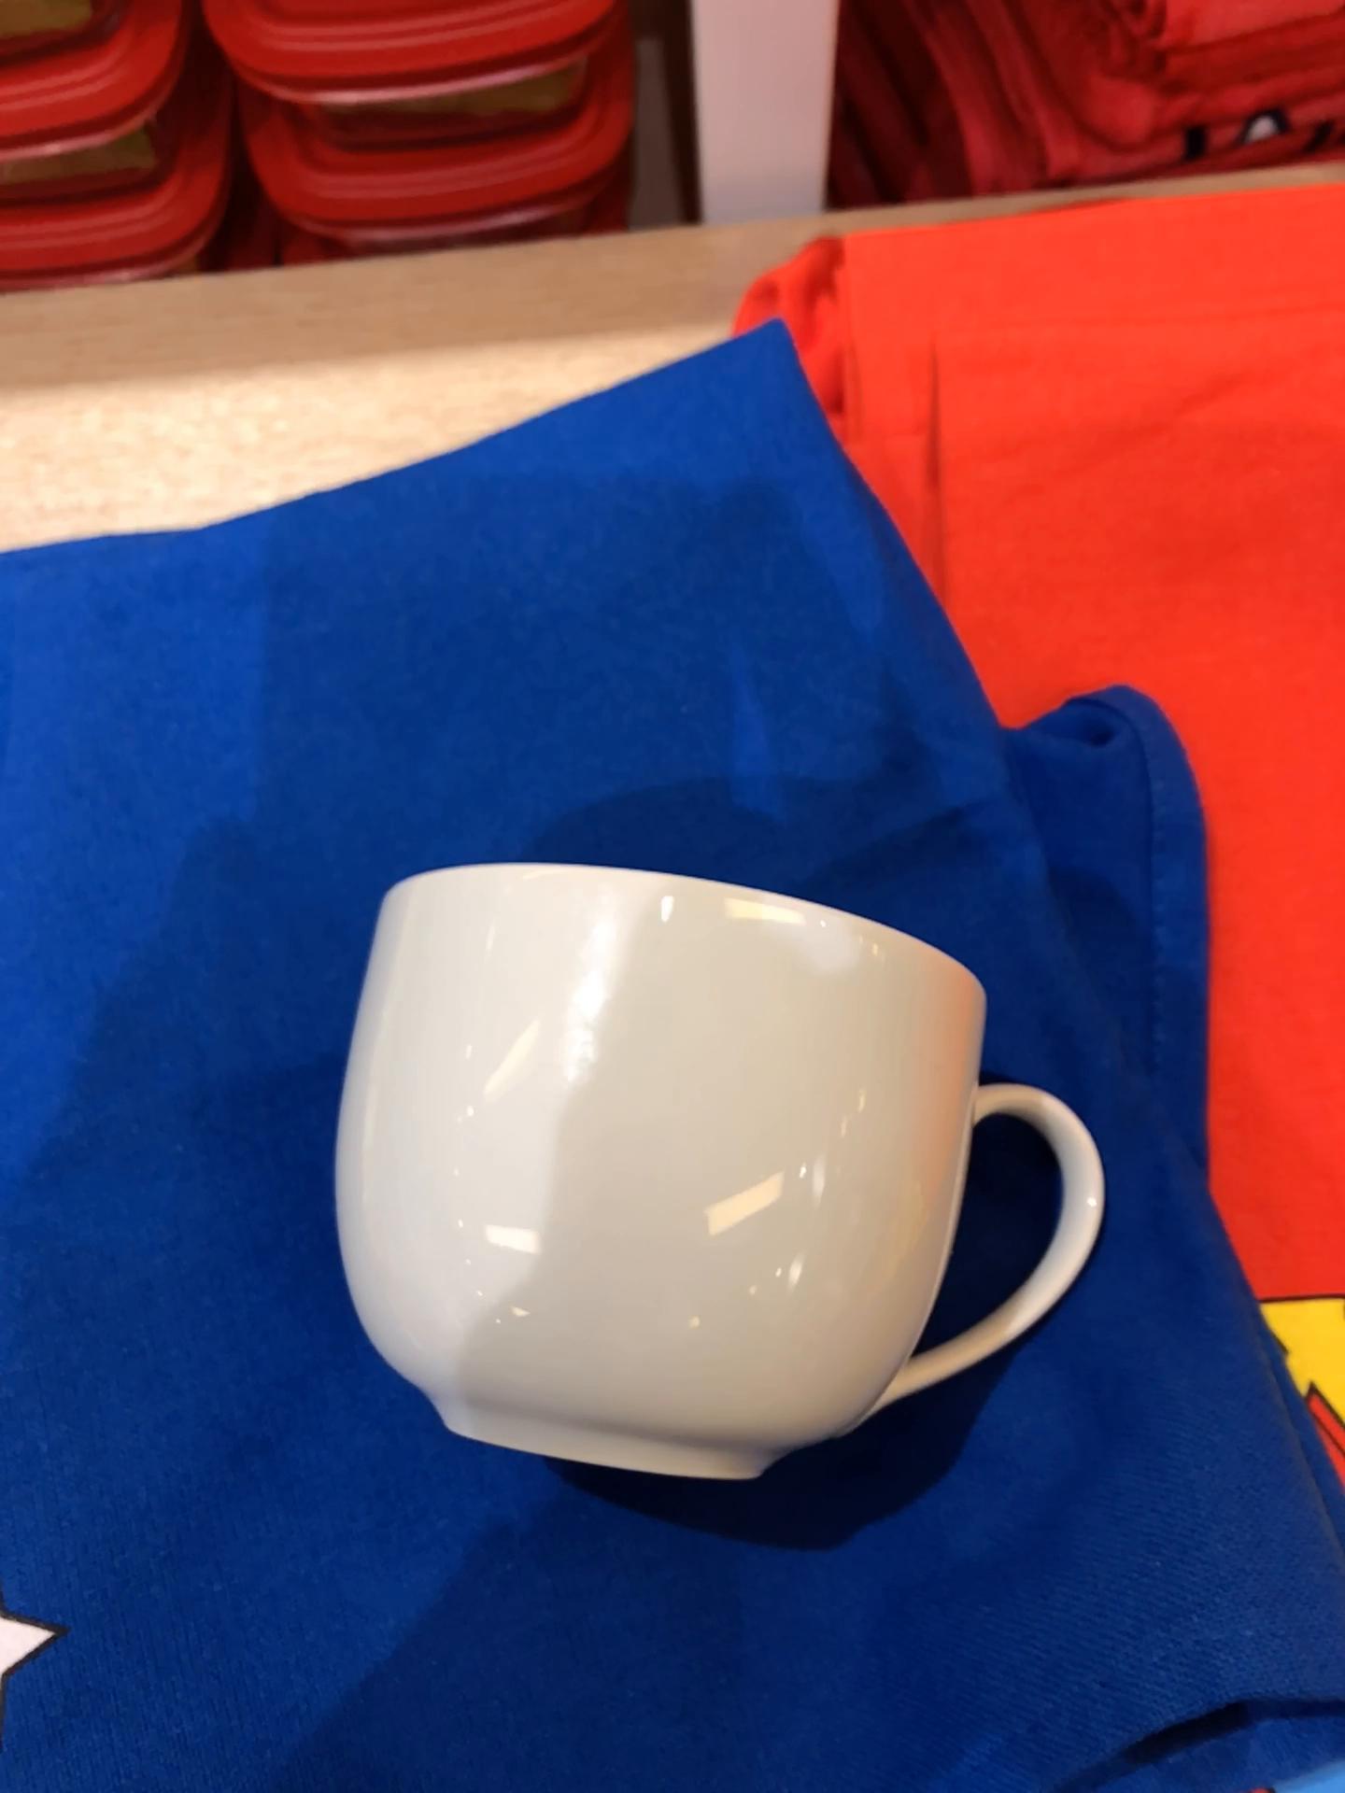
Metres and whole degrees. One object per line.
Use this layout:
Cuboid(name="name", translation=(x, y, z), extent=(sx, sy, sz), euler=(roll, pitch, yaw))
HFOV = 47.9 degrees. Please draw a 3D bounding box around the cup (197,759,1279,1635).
Cuboid(name="cup", translation=(0.011, 0.049, 0.231), extent=(0.130, 0.080, 0.090), euler=(16, 75, -24))
